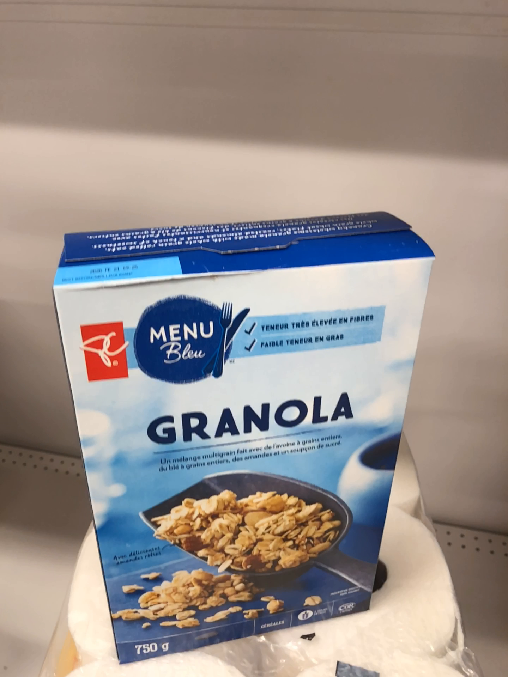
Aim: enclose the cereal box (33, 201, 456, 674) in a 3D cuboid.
[{"bbox_3d":[-0.005,0.059,0.296,0.160,0.239,0.060,-6,30,-10],"label":"cereal box"}]
